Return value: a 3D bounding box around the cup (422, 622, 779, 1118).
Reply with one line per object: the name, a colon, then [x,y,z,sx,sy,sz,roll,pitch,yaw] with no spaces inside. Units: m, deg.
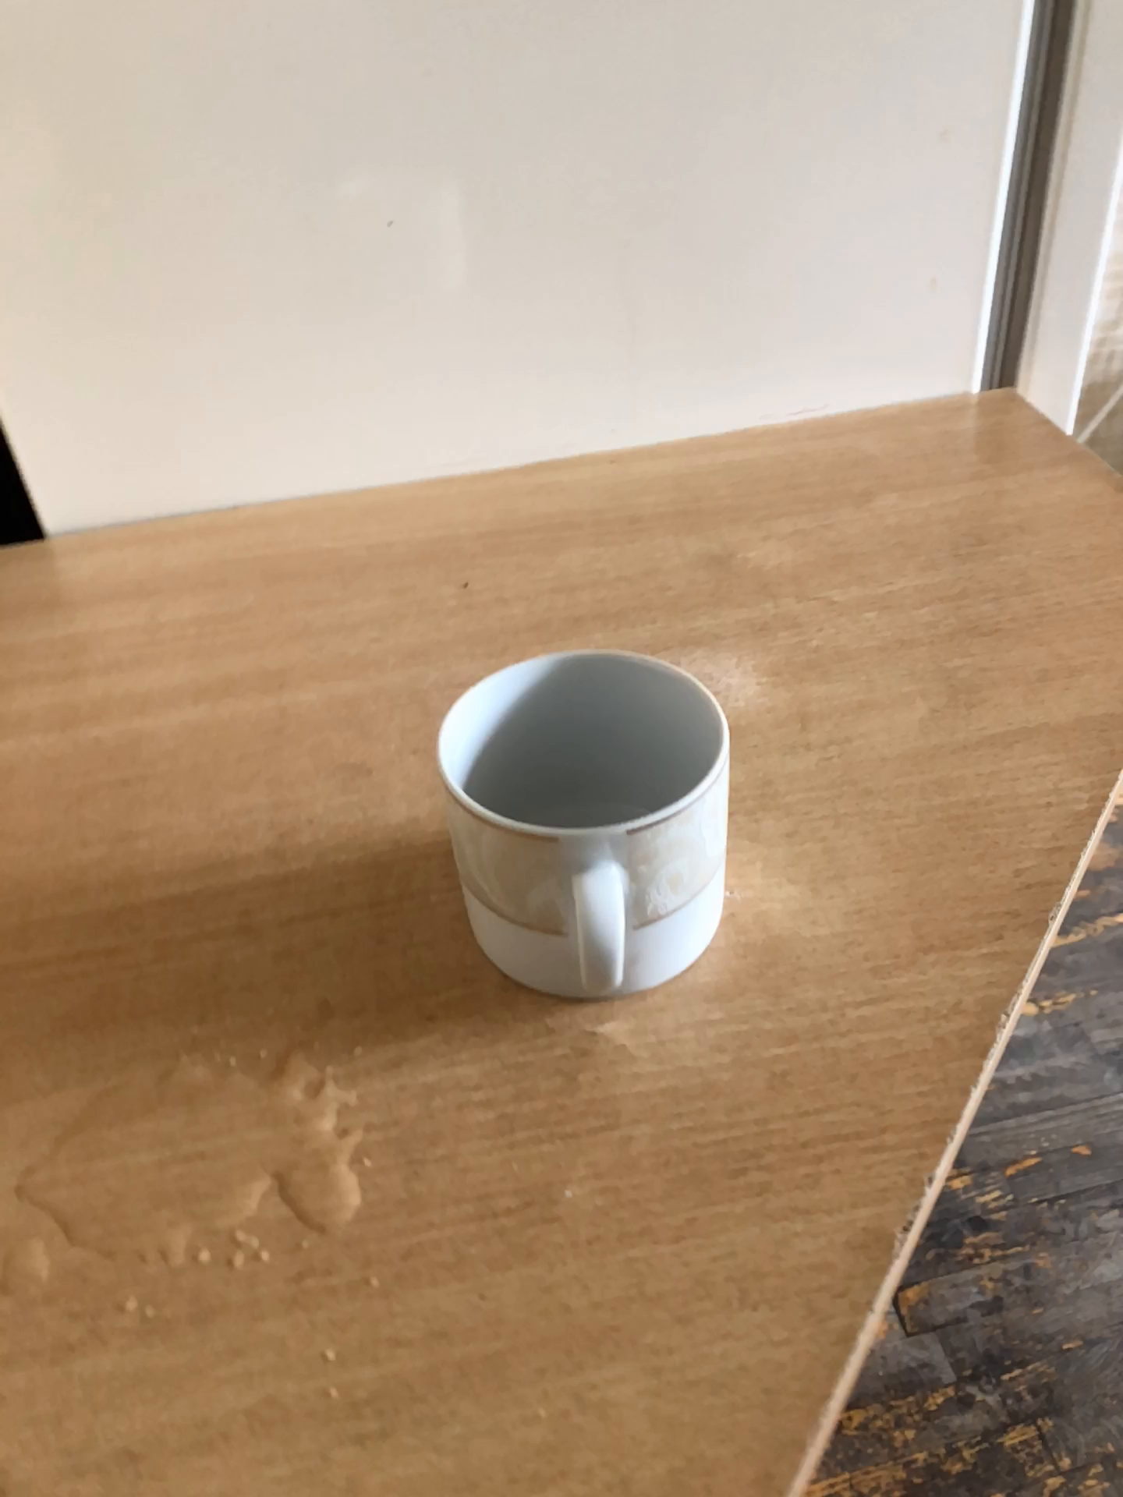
cup: [0.011,0.028,0.320,0.074,0.069,0.106,-3,39,3]
